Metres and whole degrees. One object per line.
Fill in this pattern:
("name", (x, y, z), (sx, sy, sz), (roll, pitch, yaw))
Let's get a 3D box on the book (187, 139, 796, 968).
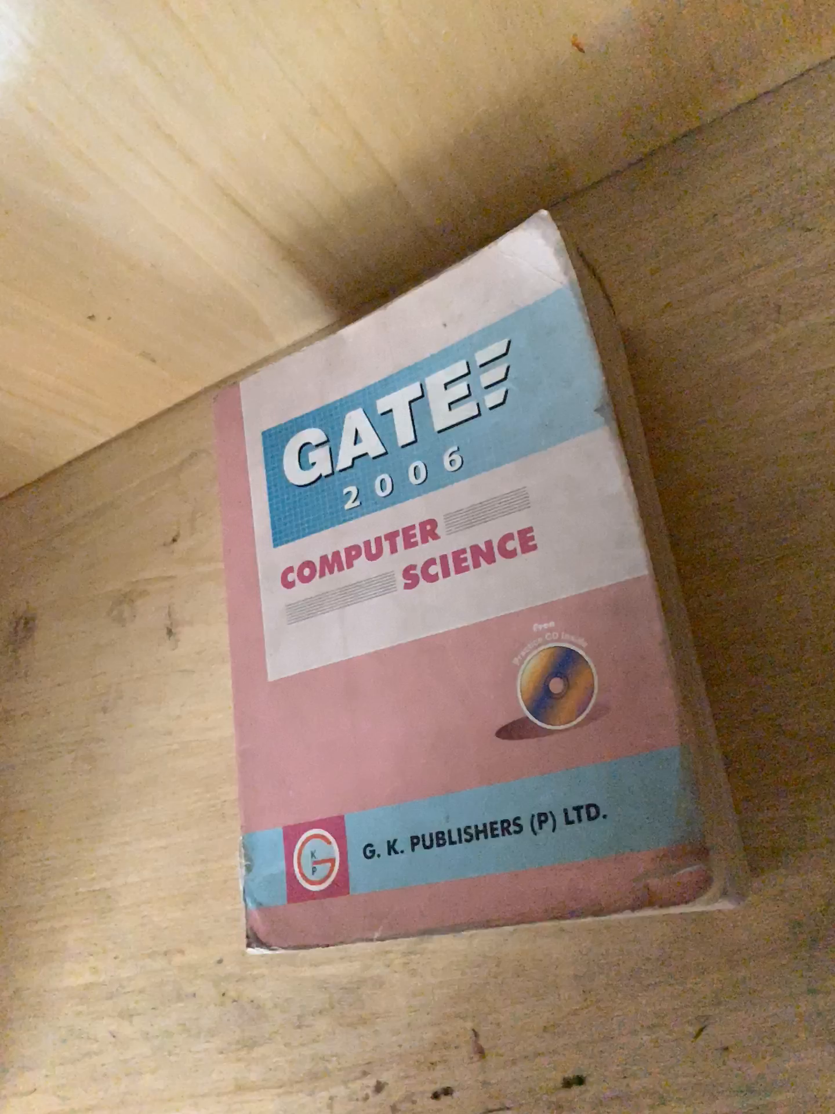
("book", (0.011, 0.005, 0.348), (0.190, 0.080, 0.271), (-17, 67, 25))
